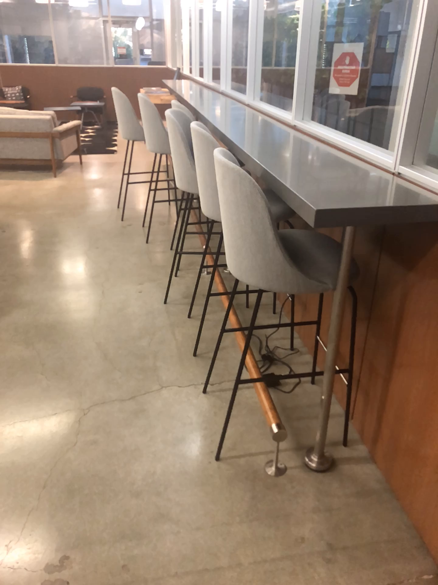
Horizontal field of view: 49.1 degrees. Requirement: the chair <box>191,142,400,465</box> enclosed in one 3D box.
[{"bbox_3d":[0.199,0.004,1.840,0.531,1.002,0.665,-4,26,-8],"label":"chair"}]
